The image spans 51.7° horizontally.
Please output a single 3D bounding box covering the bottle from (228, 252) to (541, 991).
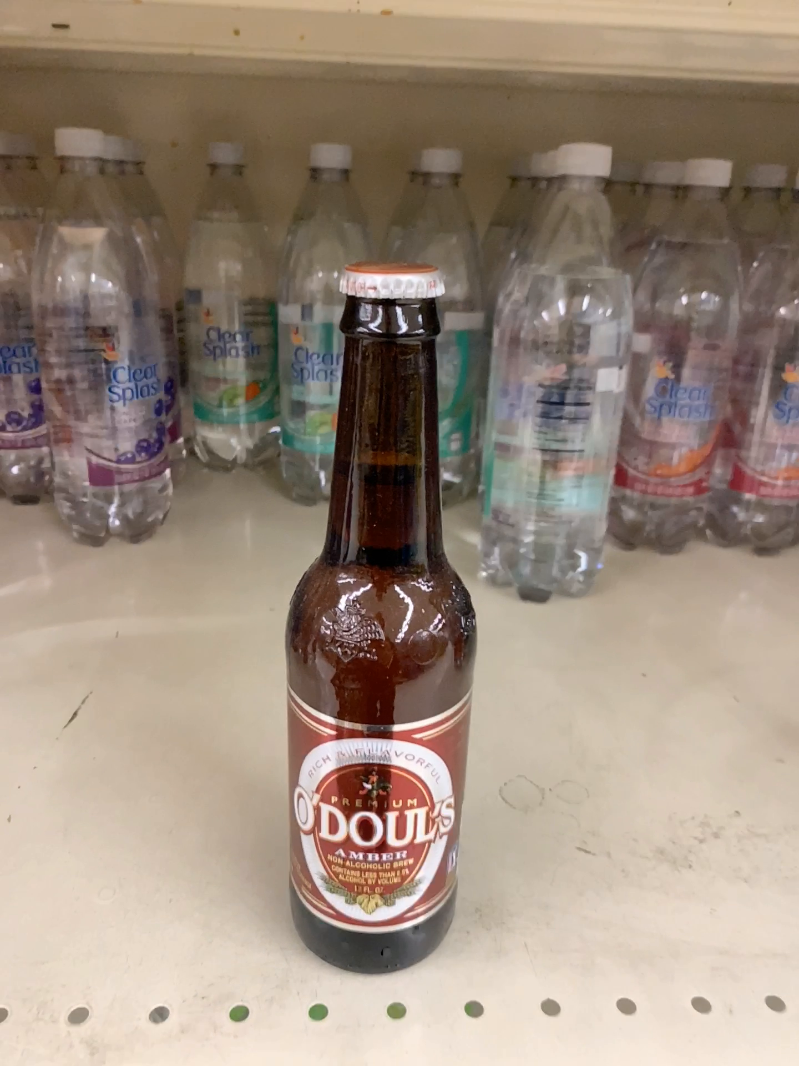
[{"bbox_3d":[-0.004,0.032,0.259,0.070,0.219,0.070,2,23,-1],"label":"bottle"}]
